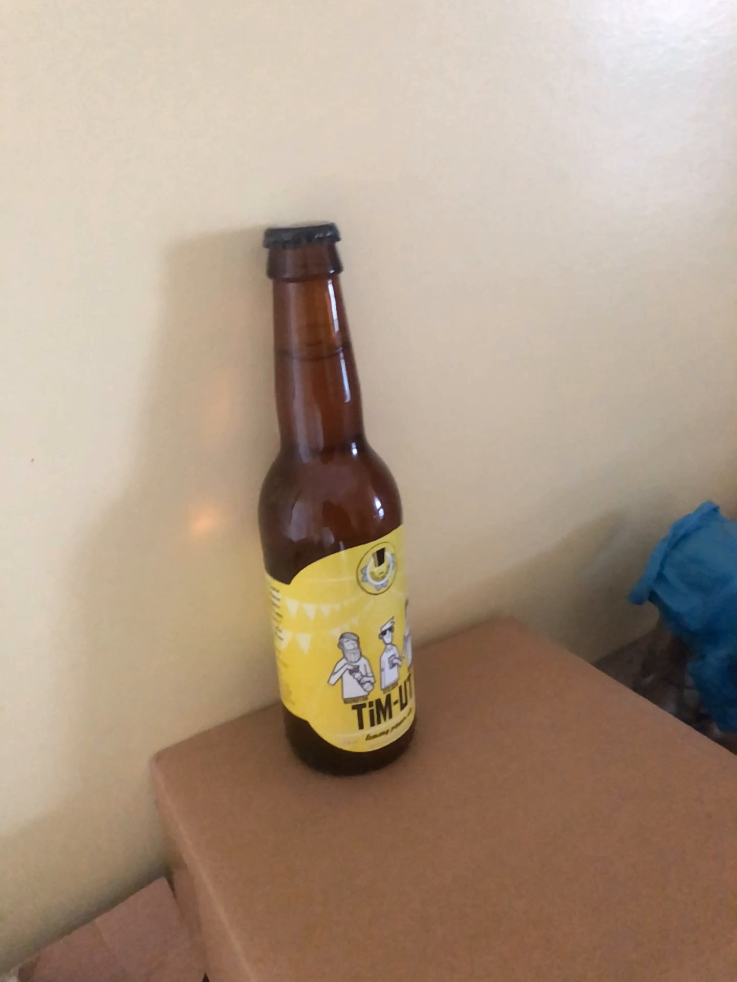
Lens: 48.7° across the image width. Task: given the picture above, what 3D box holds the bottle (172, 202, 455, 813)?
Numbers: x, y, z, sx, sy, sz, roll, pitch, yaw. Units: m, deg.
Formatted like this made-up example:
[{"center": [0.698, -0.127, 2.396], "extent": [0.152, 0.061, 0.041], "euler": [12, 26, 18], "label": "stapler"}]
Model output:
[{"center": [-0.016, 0.009, 0.329], "extent": [0.060, 0.229, 0.060], "euler": [-6, 21, 2], "label": "bottle"}]
